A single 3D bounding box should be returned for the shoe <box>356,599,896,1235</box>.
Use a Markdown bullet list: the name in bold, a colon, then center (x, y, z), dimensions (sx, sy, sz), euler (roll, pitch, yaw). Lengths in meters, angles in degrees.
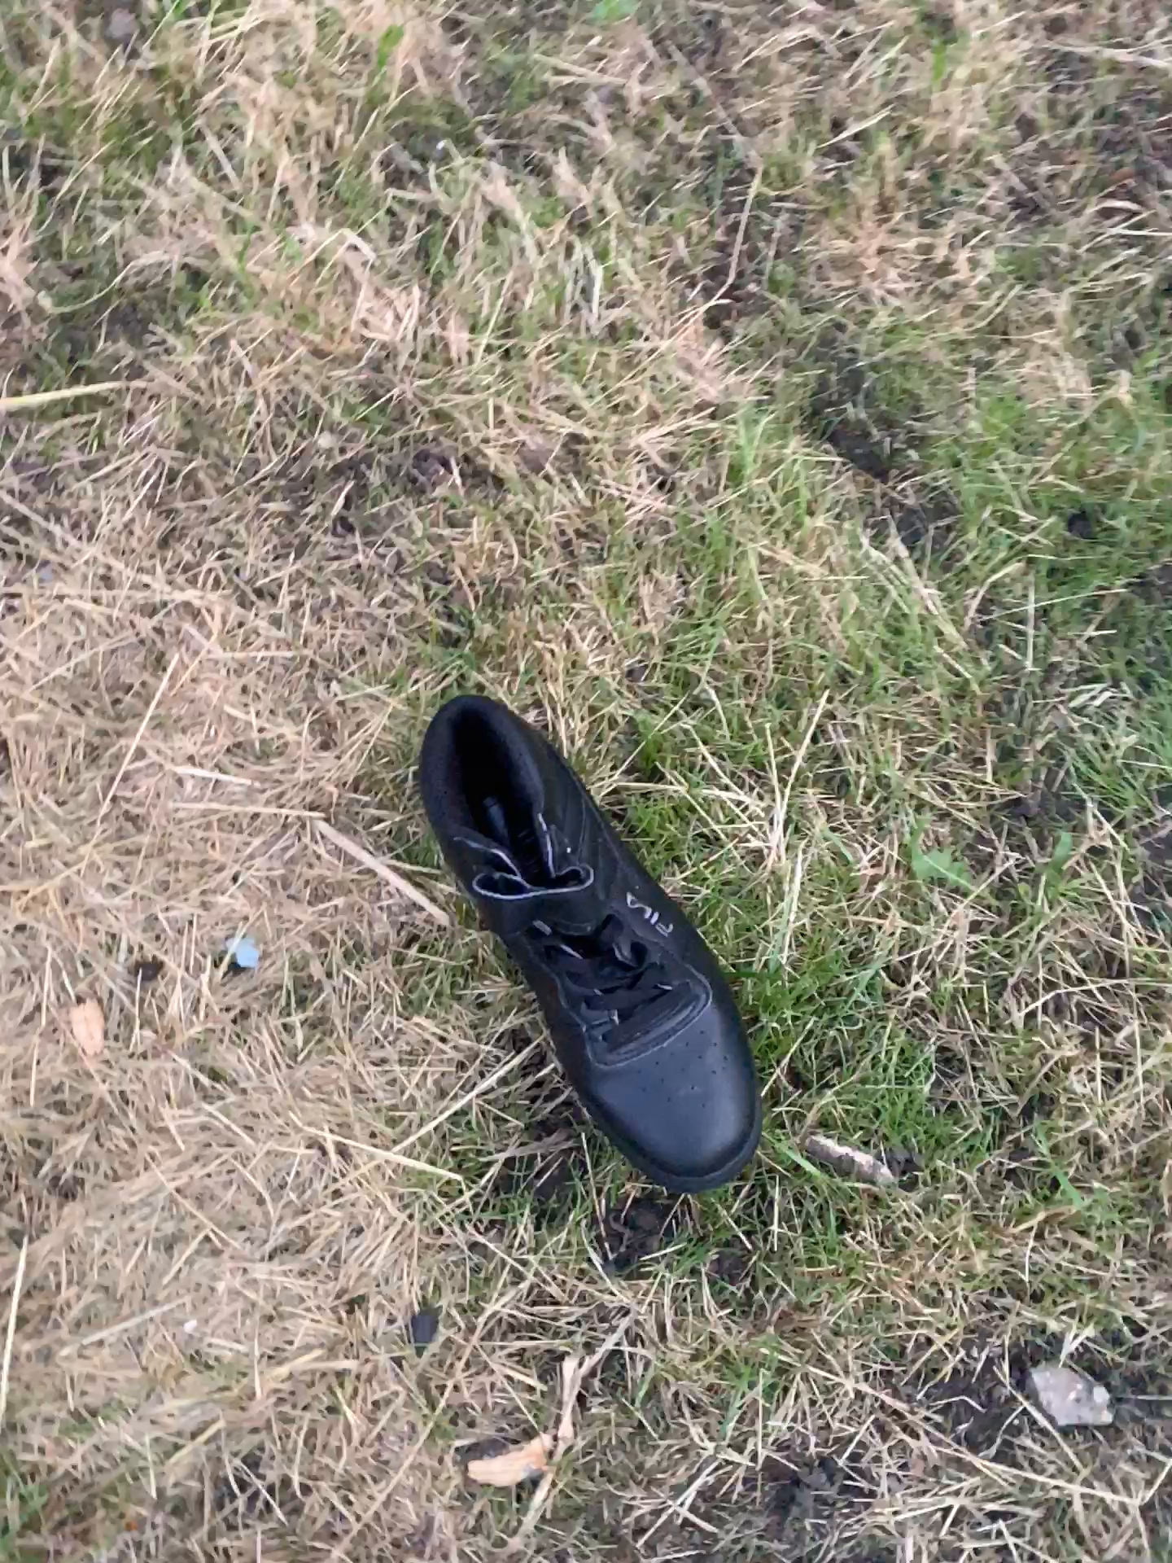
- **shoe**: center (0.009, 0.067, 0.584), dimensions (0.110, 0.120, 0.271), euler (-30, 75, -14)
